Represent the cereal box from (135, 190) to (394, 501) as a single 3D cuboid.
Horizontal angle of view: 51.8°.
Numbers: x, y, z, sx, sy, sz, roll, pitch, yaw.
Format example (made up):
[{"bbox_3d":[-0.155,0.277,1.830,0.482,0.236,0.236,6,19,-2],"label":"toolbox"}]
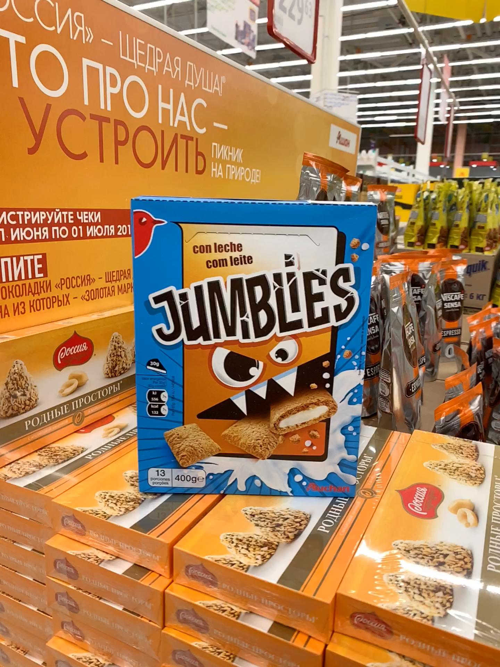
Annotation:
[{"bbox_3d":[0.008,0.011,0.455,0.200,0.259,0.060,2,13,0],"label":"cereal box"}]
